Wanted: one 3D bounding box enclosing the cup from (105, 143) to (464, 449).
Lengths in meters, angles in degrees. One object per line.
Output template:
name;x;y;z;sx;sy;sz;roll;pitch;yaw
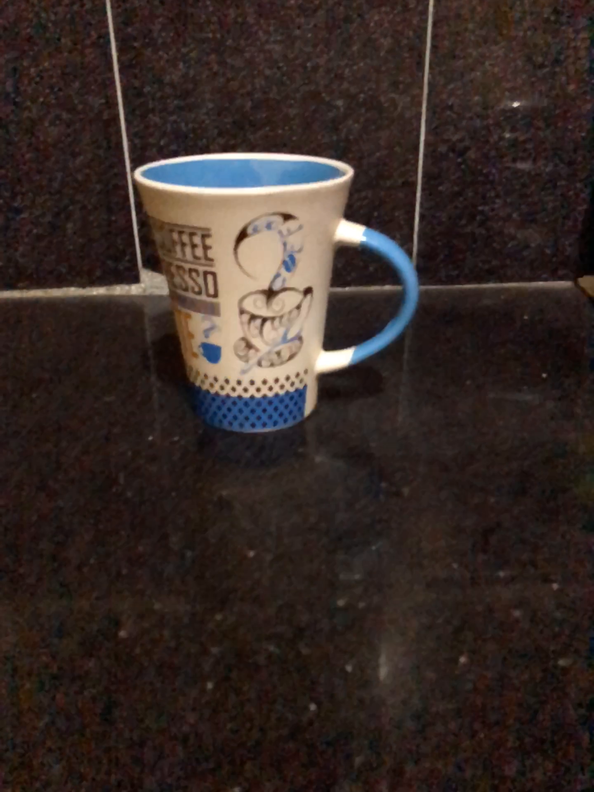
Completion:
cup;0.000;-0.051;0.298;0.130;0.109;0.091;3;27;7
